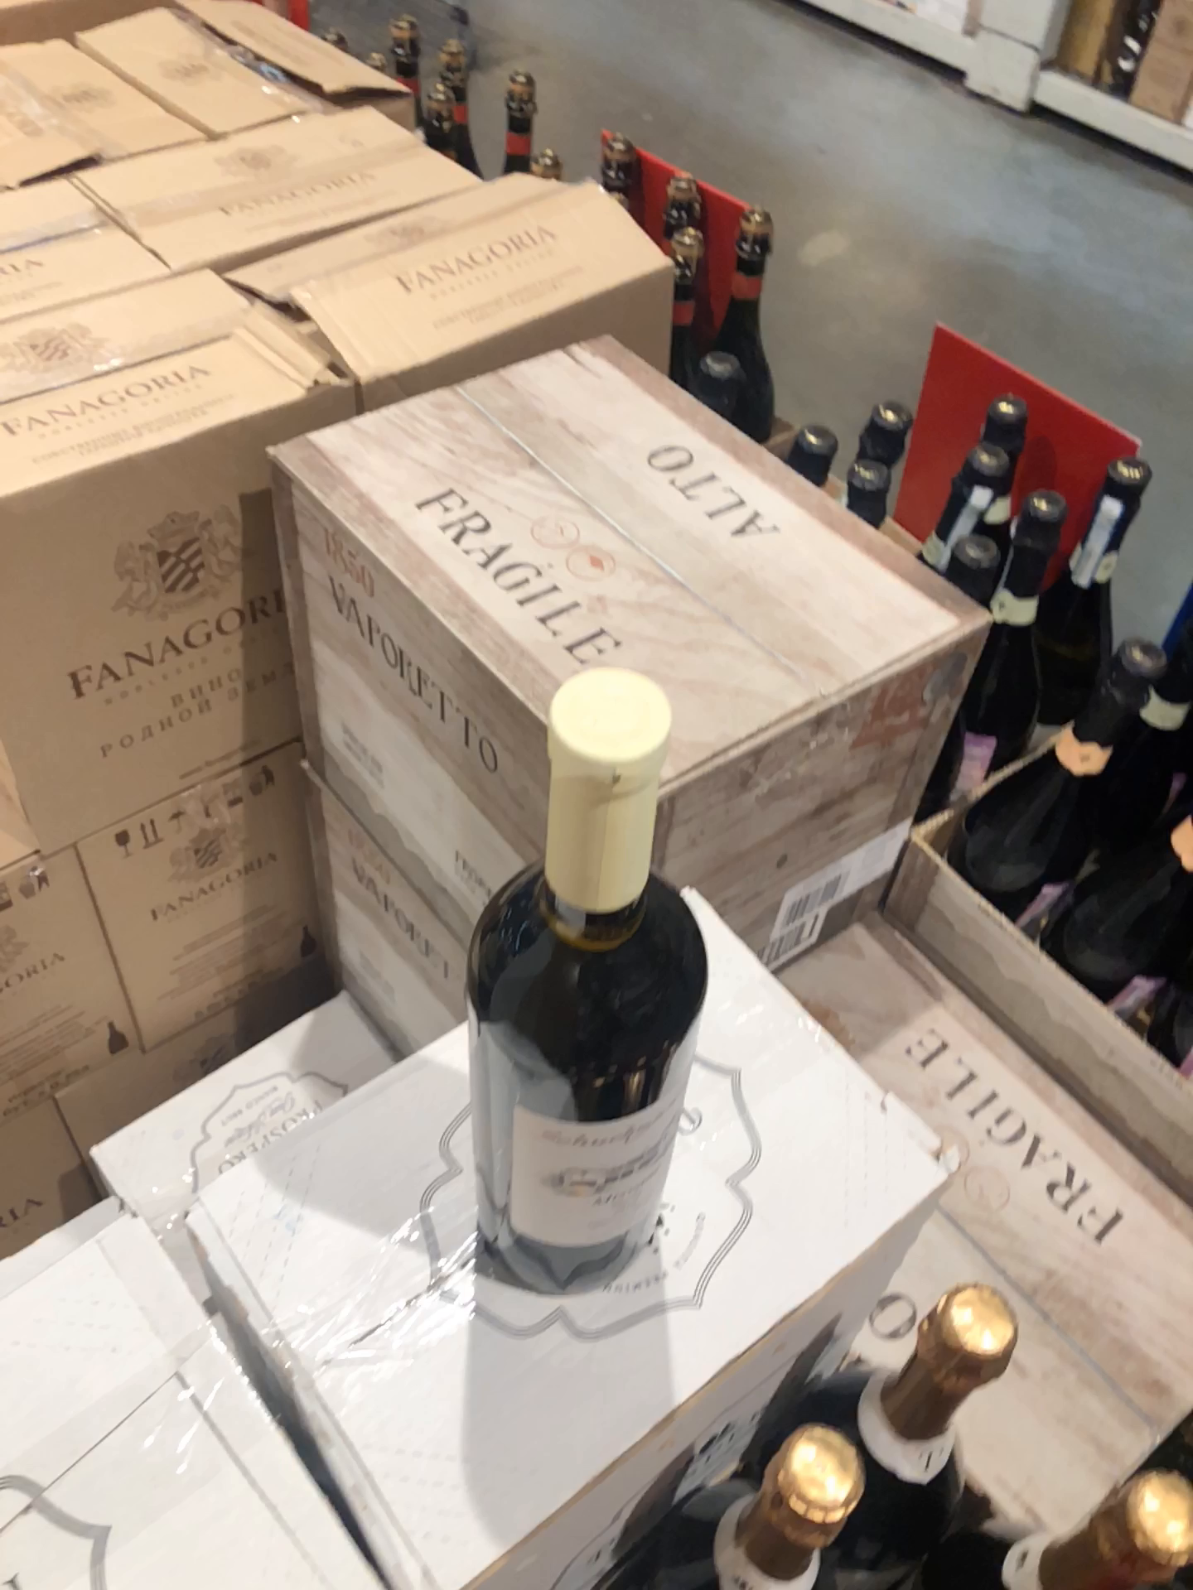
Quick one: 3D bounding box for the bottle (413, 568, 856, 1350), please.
[{"bbox_3d":[-0.001,0.073,0.415,0.080,0.288,0.073,-18,52,-20],"label":"bottle"}]
